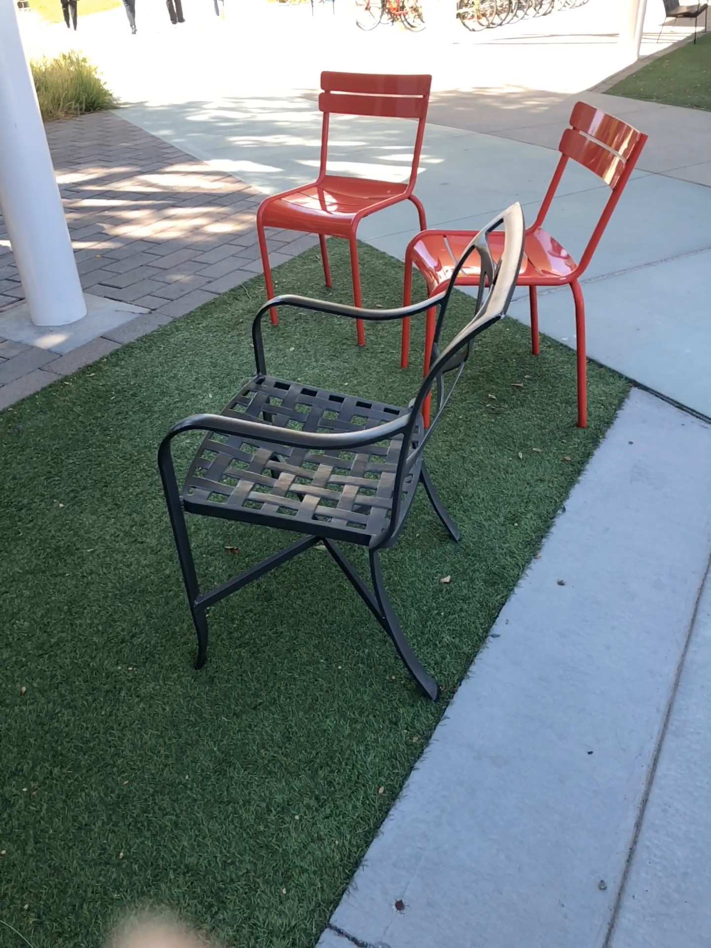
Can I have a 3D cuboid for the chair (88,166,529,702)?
[{"bbox_3d":[-0.033,-0.111,1.593,0.640,0.806,0.643,7,34,8],"label":"chair"}]
